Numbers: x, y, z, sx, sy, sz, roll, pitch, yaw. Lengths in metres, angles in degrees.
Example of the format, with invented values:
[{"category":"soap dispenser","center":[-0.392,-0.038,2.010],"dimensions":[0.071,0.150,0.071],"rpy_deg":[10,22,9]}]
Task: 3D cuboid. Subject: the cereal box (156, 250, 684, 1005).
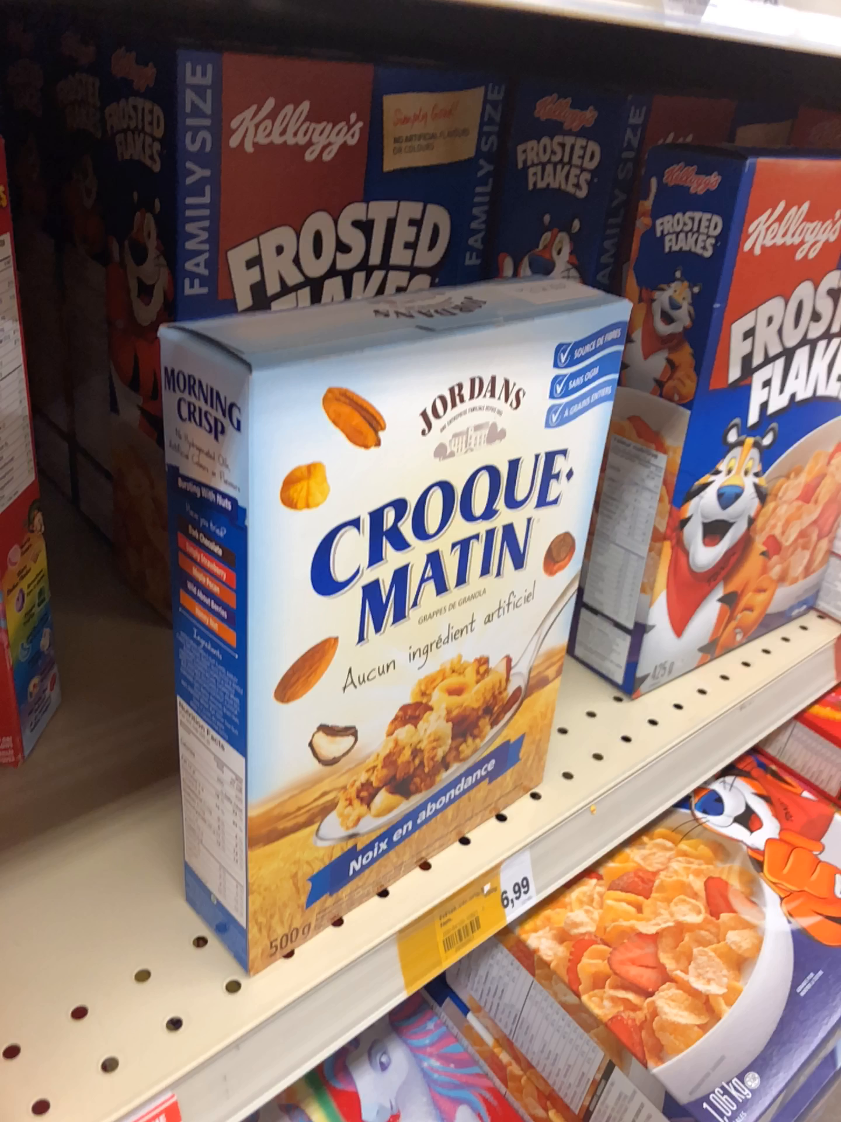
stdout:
[{"category":"cereal box","center":[0.001,0.020,0.375],"dimensions":[0.201,0.258,0.050],"rpy_deg":[-22,40,-40]}]
